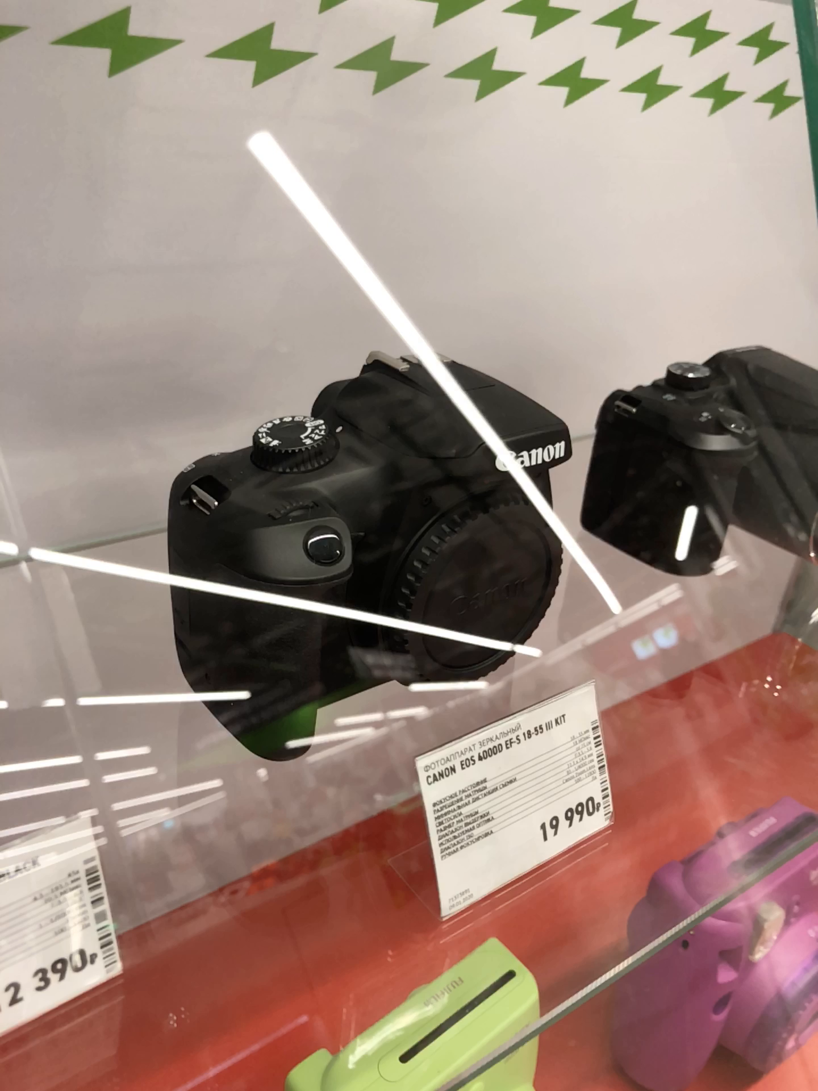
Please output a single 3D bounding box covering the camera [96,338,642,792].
[{"bbox_3d":[-0.014,-0.007,0.299,0.136,0.083,0.100,-16,36,-36],"label":"camera"}]
